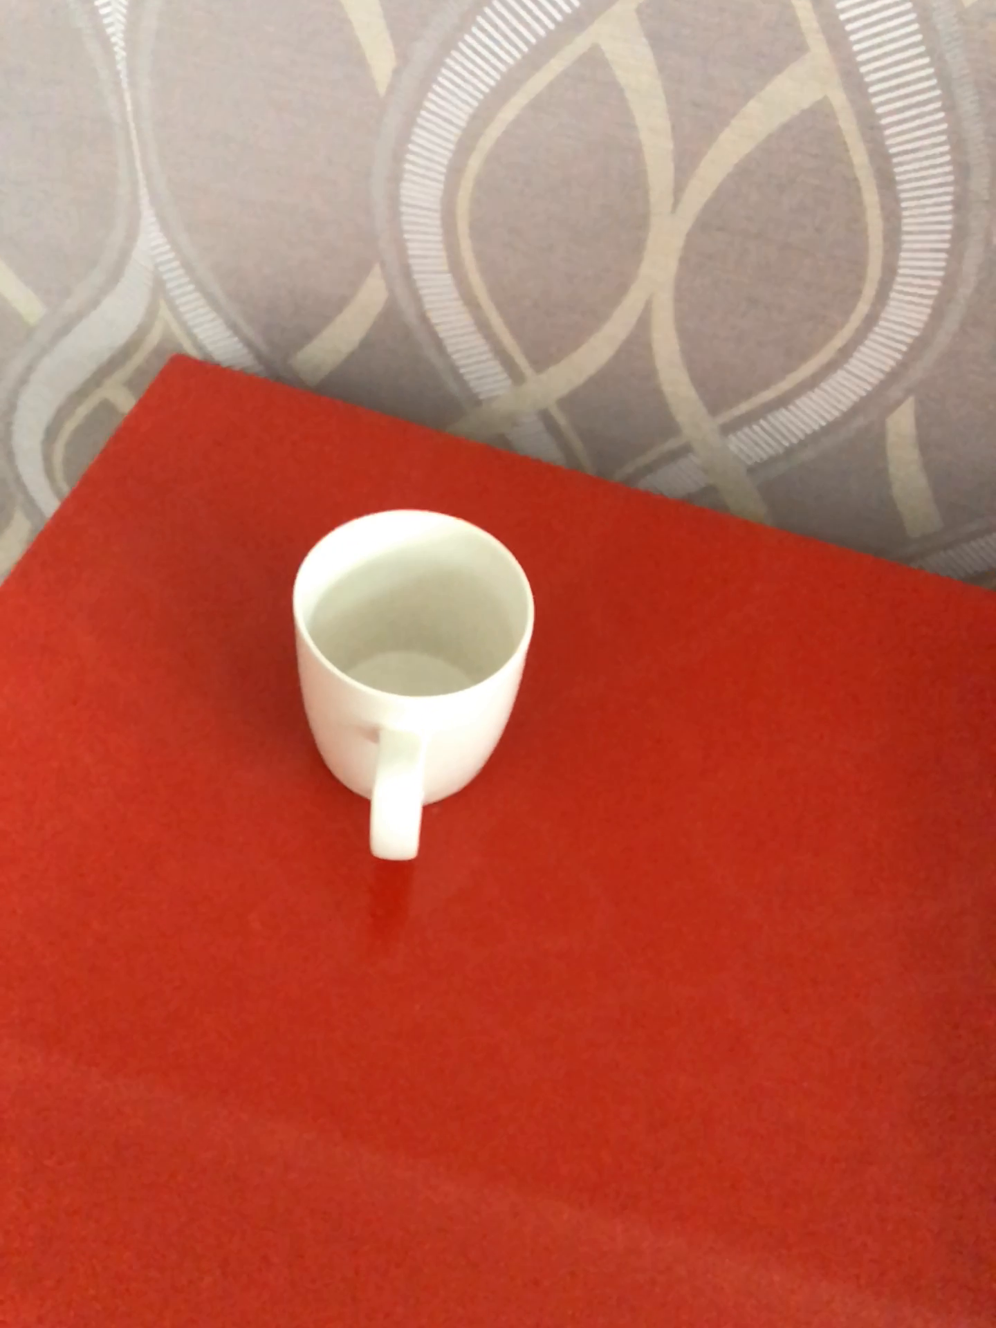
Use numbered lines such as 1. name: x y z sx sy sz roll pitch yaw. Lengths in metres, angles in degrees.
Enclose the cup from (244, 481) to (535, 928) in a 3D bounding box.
1. cup: -0.039 0.019 0.430 0.090 0.119 0.121 5 53 -4
